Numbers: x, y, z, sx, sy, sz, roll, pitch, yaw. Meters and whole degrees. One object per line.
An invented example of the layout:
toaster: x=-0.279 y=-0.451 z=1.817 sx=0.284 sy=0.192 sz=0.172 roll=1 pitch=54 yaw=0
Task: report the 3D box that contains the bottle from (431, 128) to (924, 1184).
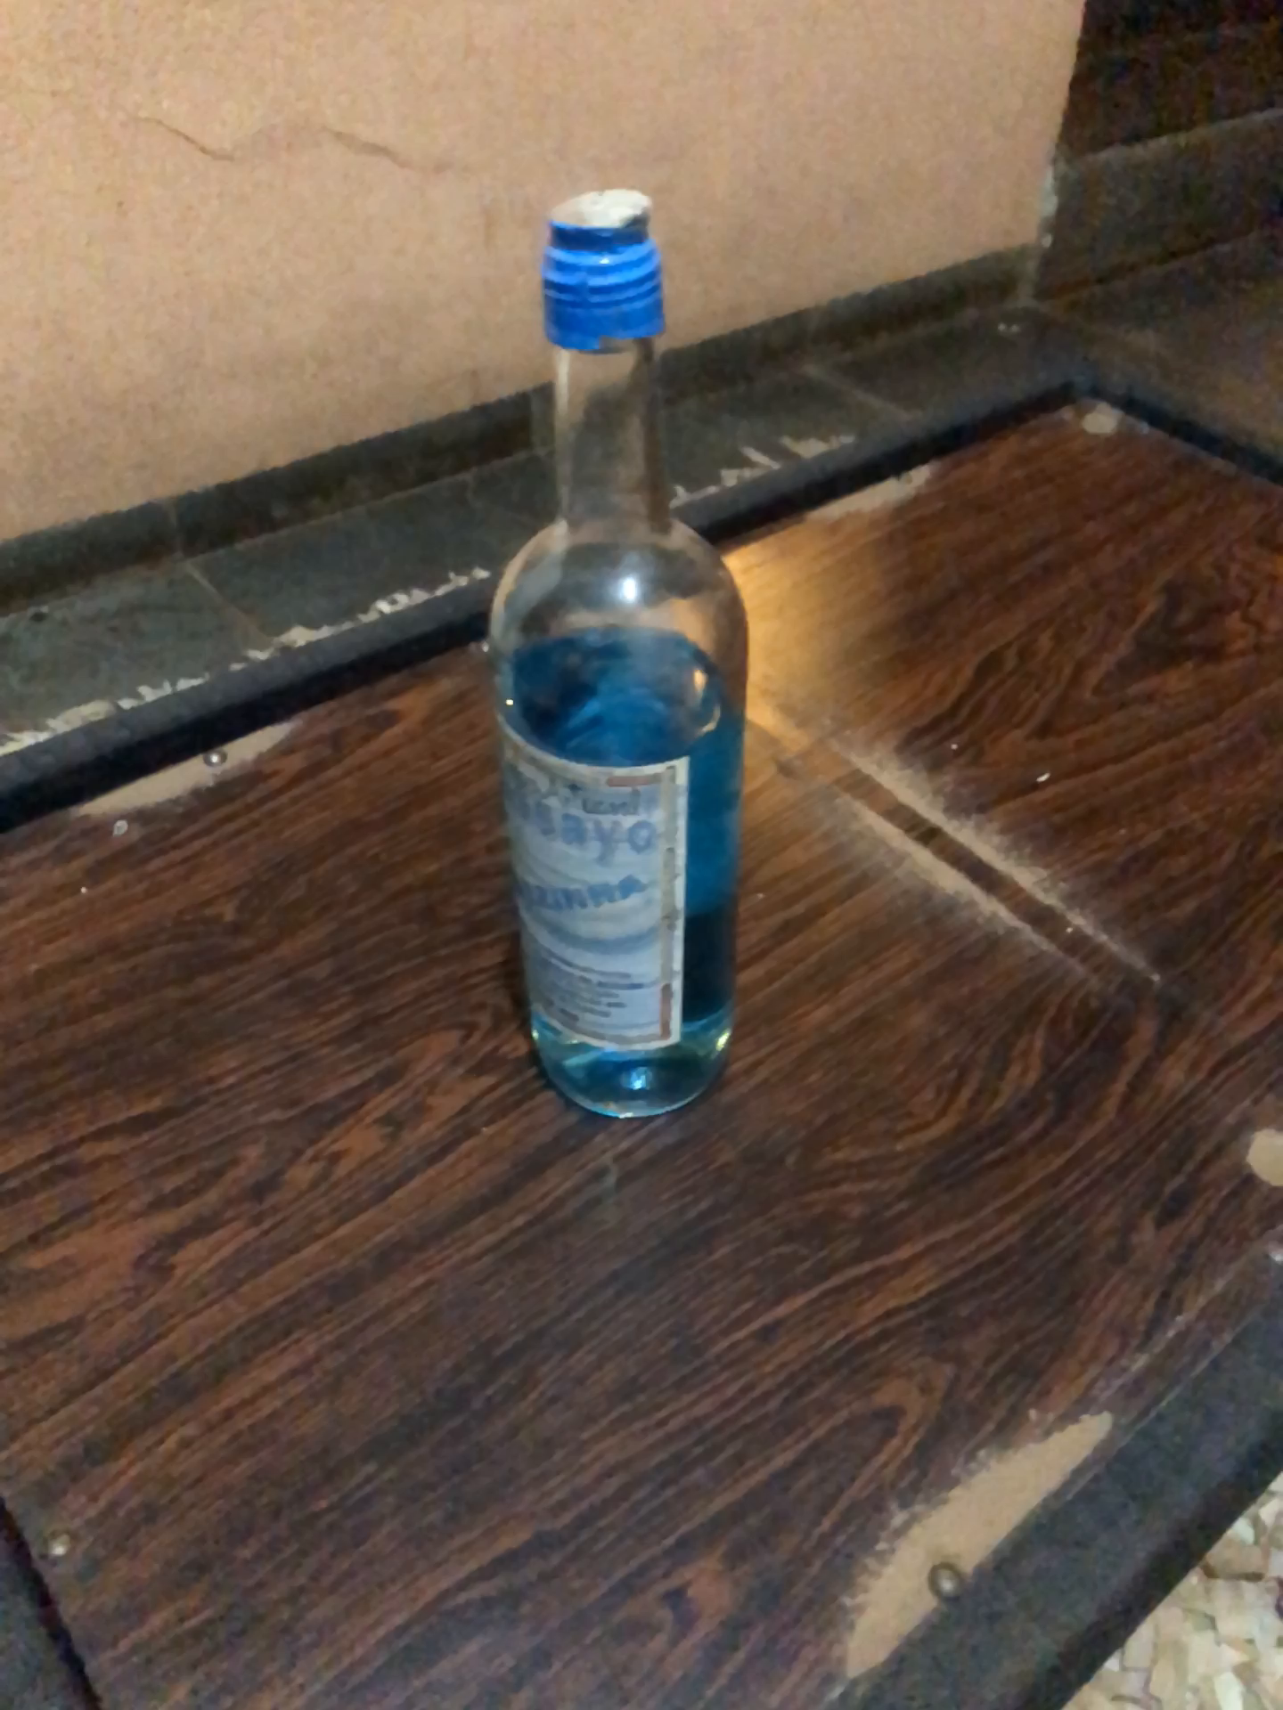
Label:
bottle: x=0.004 y=-0.039 z=0.422 sx=0.080 sy=0.298 sz=0.080 roll=1 pitch=41 yaw=-1
